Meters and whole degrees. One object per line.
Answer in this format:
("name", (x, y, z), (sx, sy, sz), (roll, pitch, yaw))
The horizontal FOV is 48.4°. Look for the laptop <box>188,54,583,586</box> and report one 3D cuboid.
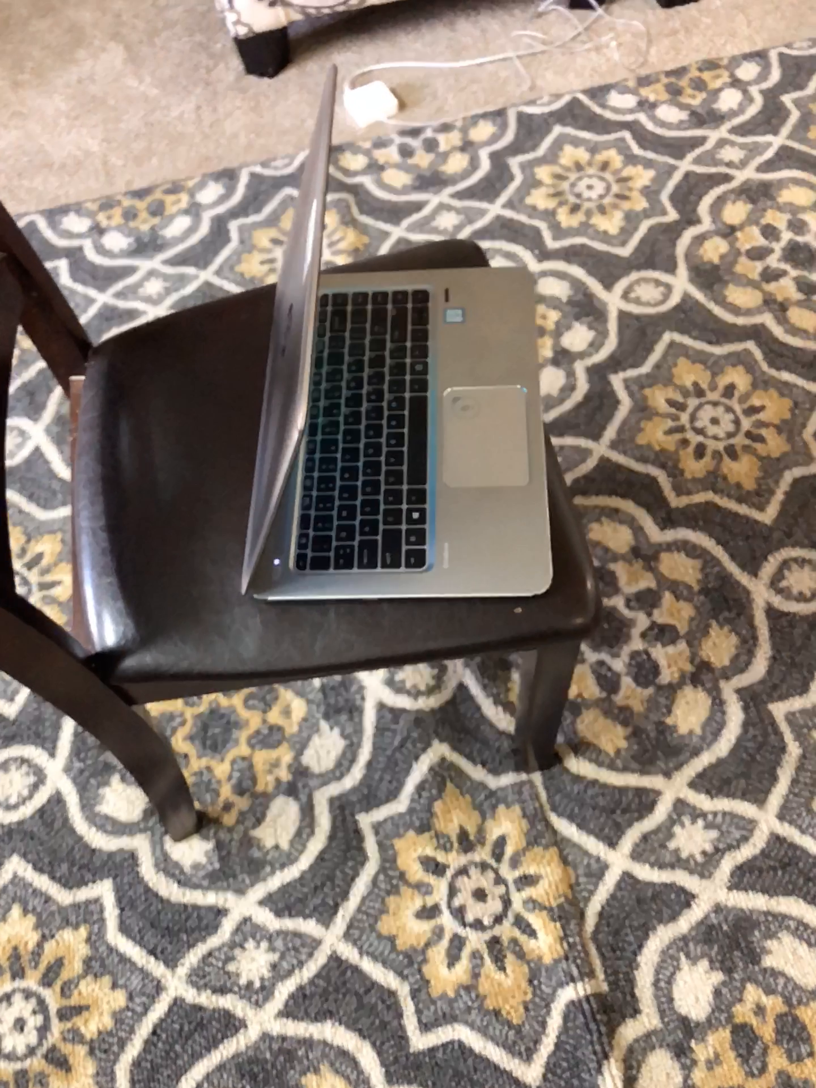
("laptop", (-0.004, -0.158, 0.650), (0.211, 0.194, 0.323), (-1, 59, 4))
